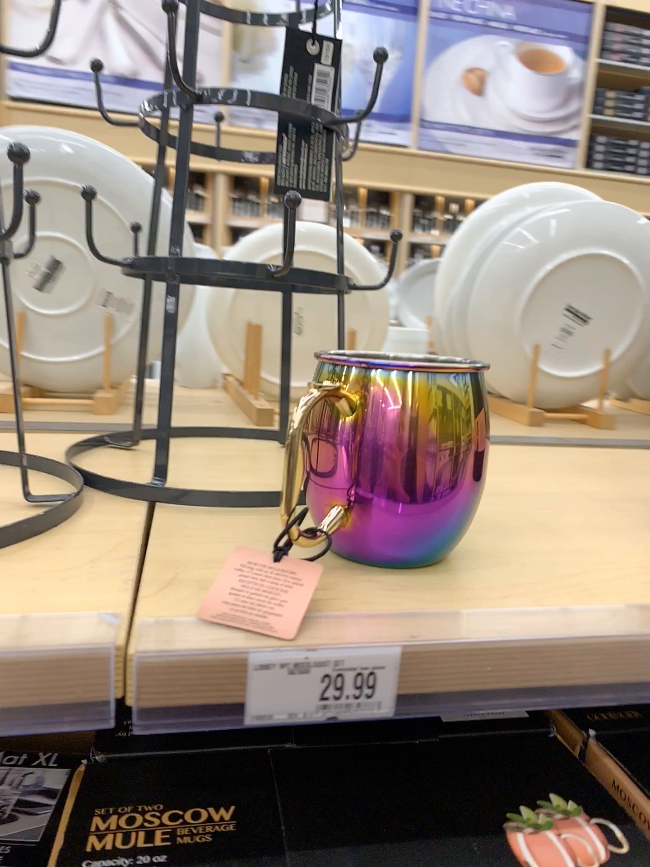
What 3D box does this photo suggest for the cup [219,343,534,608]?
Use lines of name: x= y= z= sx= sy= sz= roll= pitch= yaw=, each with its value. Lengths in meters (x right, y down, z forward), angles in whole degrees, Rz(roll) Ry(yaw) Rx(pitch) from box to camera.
cup: x=0.029 y=0.006 z=0.318 sx=0.084 sy=0.089 sz=0.131 roll=12 pitch=13 yaw=36
